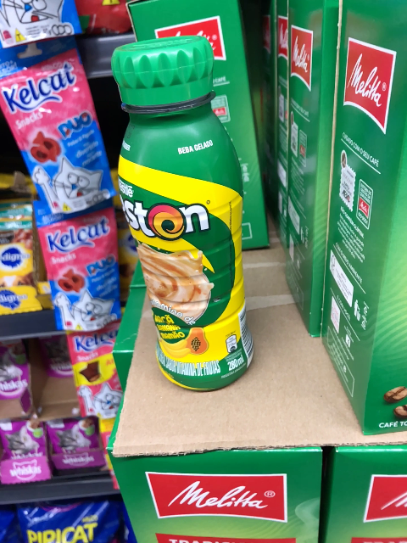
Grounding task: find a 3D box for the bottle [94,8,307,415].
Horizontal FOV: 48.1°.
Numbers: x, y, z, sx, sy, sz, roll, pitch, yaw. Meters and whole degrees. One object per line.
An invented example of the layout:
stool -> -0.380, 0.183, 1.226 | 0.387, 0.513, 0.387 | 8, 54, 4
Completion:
bottle -> 0.005, -0.024, 0.226 | 0.060, 0.179, 0.060 | -4, 32, 3
